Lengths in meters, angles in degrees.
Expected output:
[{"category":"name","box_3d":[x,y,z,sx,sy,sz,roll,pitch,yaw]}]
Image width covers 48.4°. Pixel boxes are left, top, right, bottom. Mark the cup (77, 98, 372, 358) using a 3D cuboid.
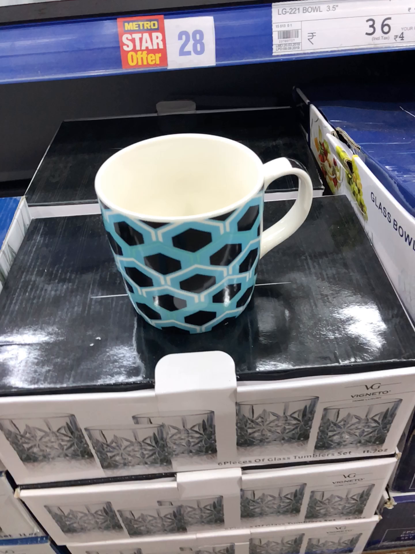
[{"category":"cup","box_3d":[0.004,-0.032,0.266,0.130,0.090,0.090,-13,42,-10]}]
